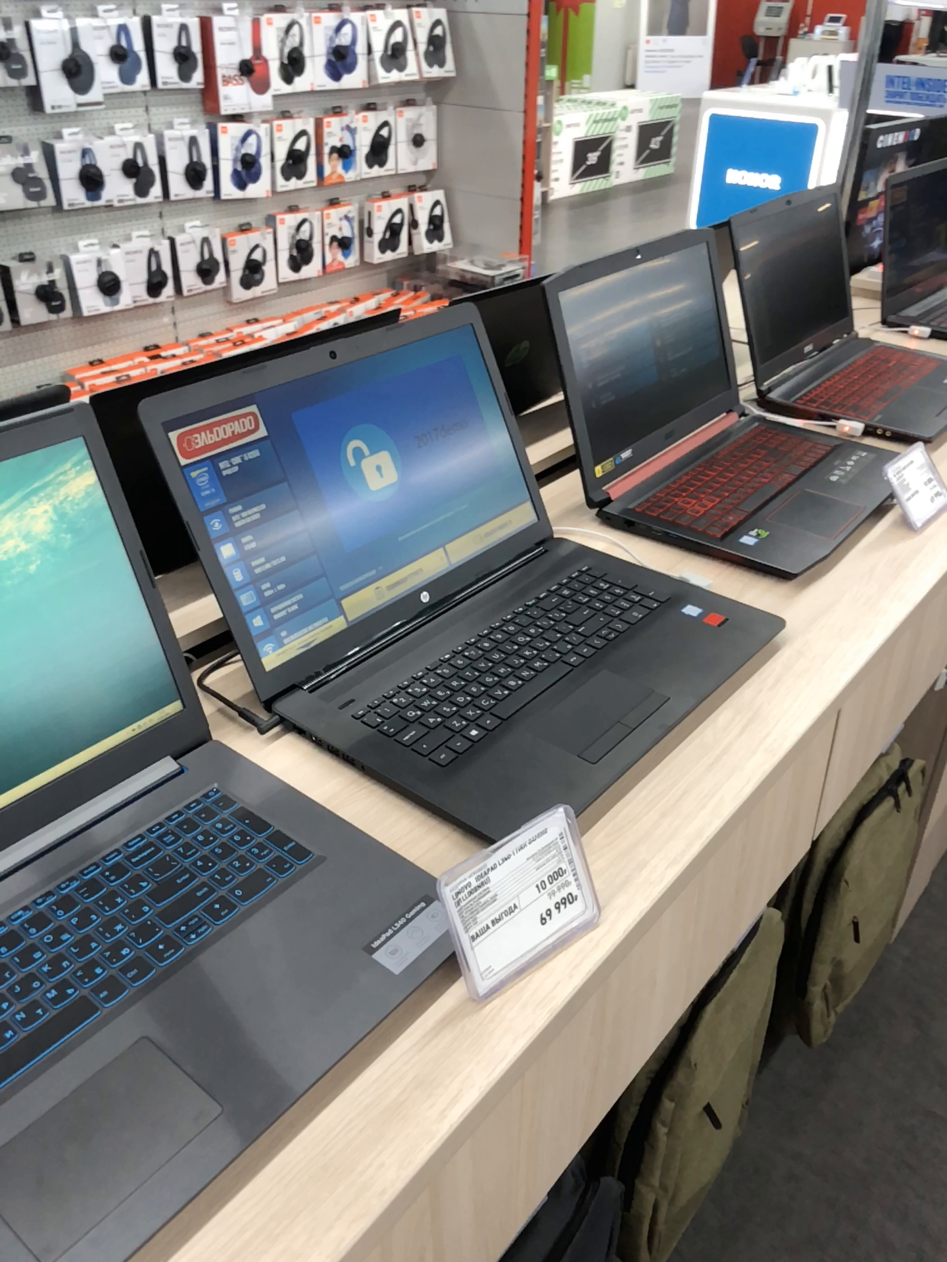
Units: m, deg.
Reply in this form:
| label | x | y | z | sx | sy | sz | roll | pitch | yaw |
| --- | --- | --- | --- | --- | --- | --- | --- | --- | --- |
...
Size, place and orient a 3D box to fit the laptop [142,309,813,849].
| label | x | y | z | sx | sy | sz | roll | pitch | yaw |
| --- | --- | --- | --- | --- | --- | --- | --- | --- | --- |
| laptop | 0.014 | -0.088 | 0.870 | 0.373 | 0.213 | 0.389 | 23 | 37 | 30 |

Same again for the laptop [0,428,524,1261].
| label | x | y | z | sx | sy | sz | roll | pitch | yaw |
| --- | --- | --- | --- | --- | --- | --- | --- | --- | --- |
| laptop | -0.251 | 0.085 | 0.538 | 0.372 | 0.226 | 0.381 | 22 | 34 | 28 |

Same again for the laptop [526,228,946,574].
| label | x | y | z | sx | sy | sz | roll | pitch | yaw |
| --- | --- | --- | --- | --- | --- | --- | --- | --- | --- |
| laptop | 0.319 | -0.287 | 1.199 | 0.303 | 0.224 | 0.404 | 24 | 38 | 27 |
